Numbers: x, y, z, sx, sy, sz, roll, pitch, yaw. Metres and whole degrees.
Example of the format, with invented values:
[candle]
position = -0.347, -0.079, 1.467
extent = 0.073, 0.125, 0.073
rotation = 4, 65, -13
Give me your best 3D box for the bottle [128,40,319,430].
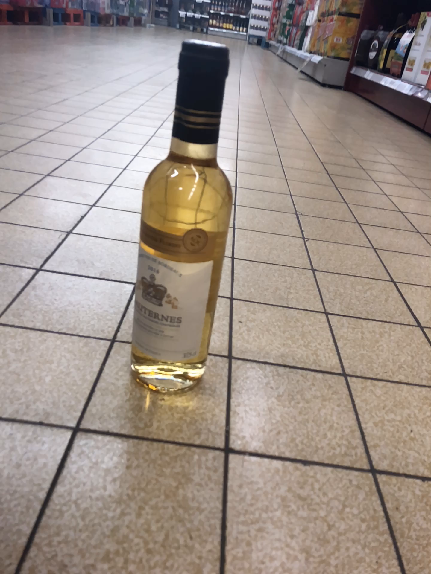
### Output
[bottle]
position = -0.002, -0.027, 0.320
extent = 0.070, 0.239, 0.070
rotation = 7, 27, -4
